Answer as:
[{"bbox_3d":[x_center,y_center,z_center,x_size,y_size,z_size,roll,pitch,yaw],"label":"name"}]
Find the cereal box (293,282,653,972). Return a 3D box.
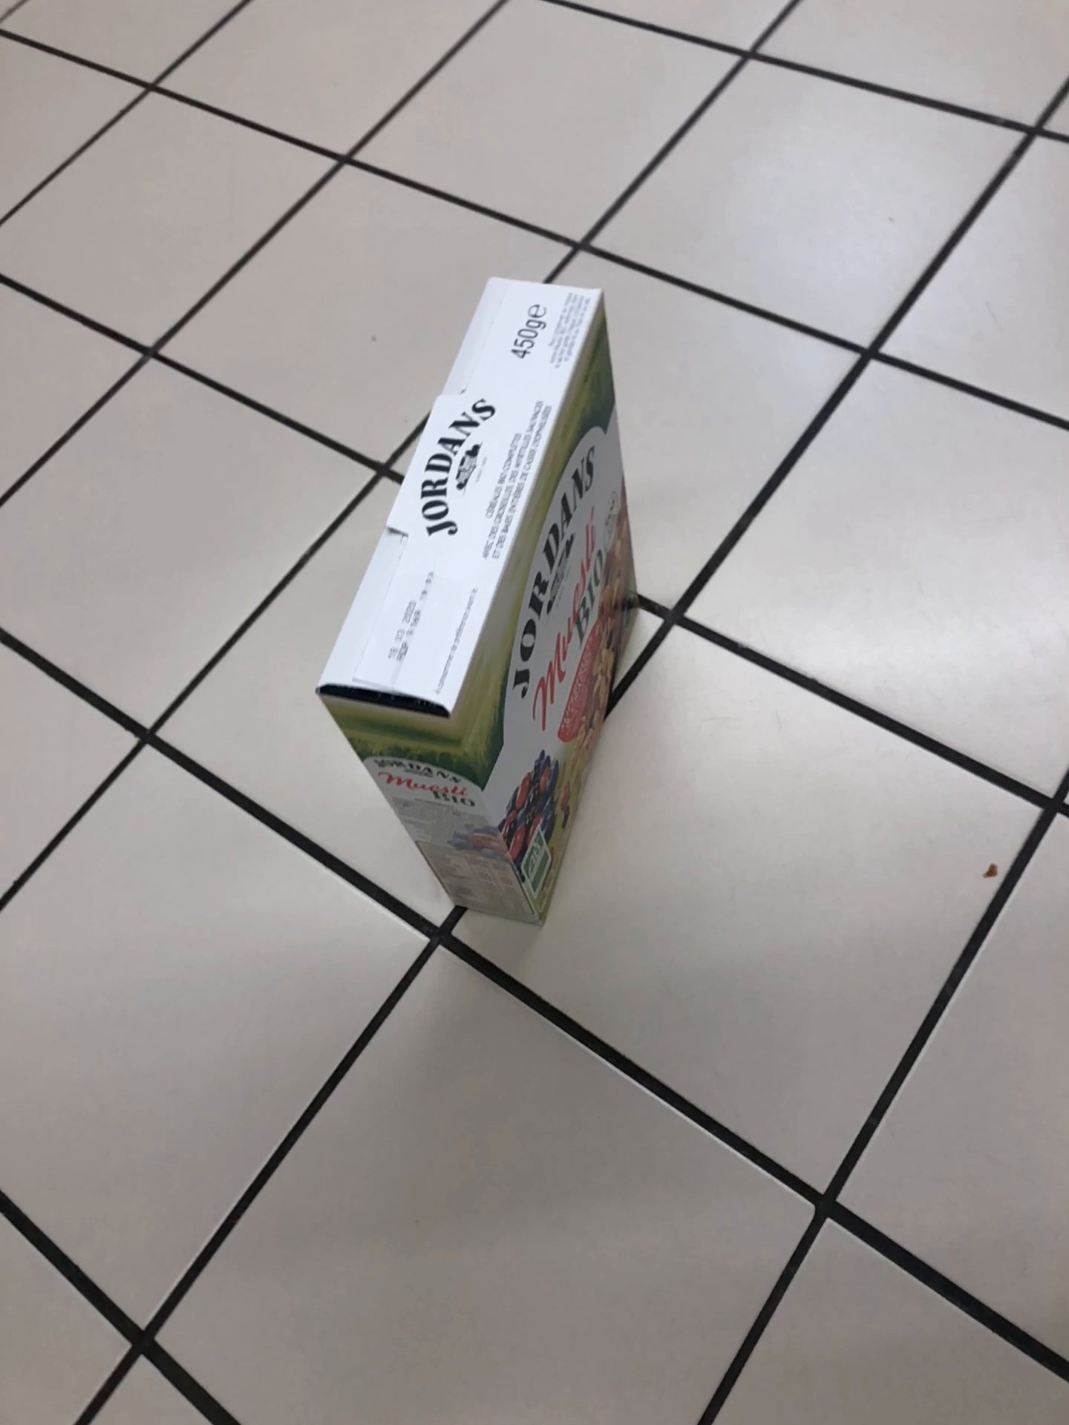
[{"bbox_3d":[-0.005,-0.021,0.485,0.060,0.219,0.191,12,65,13],"label":"cereal box"}]
